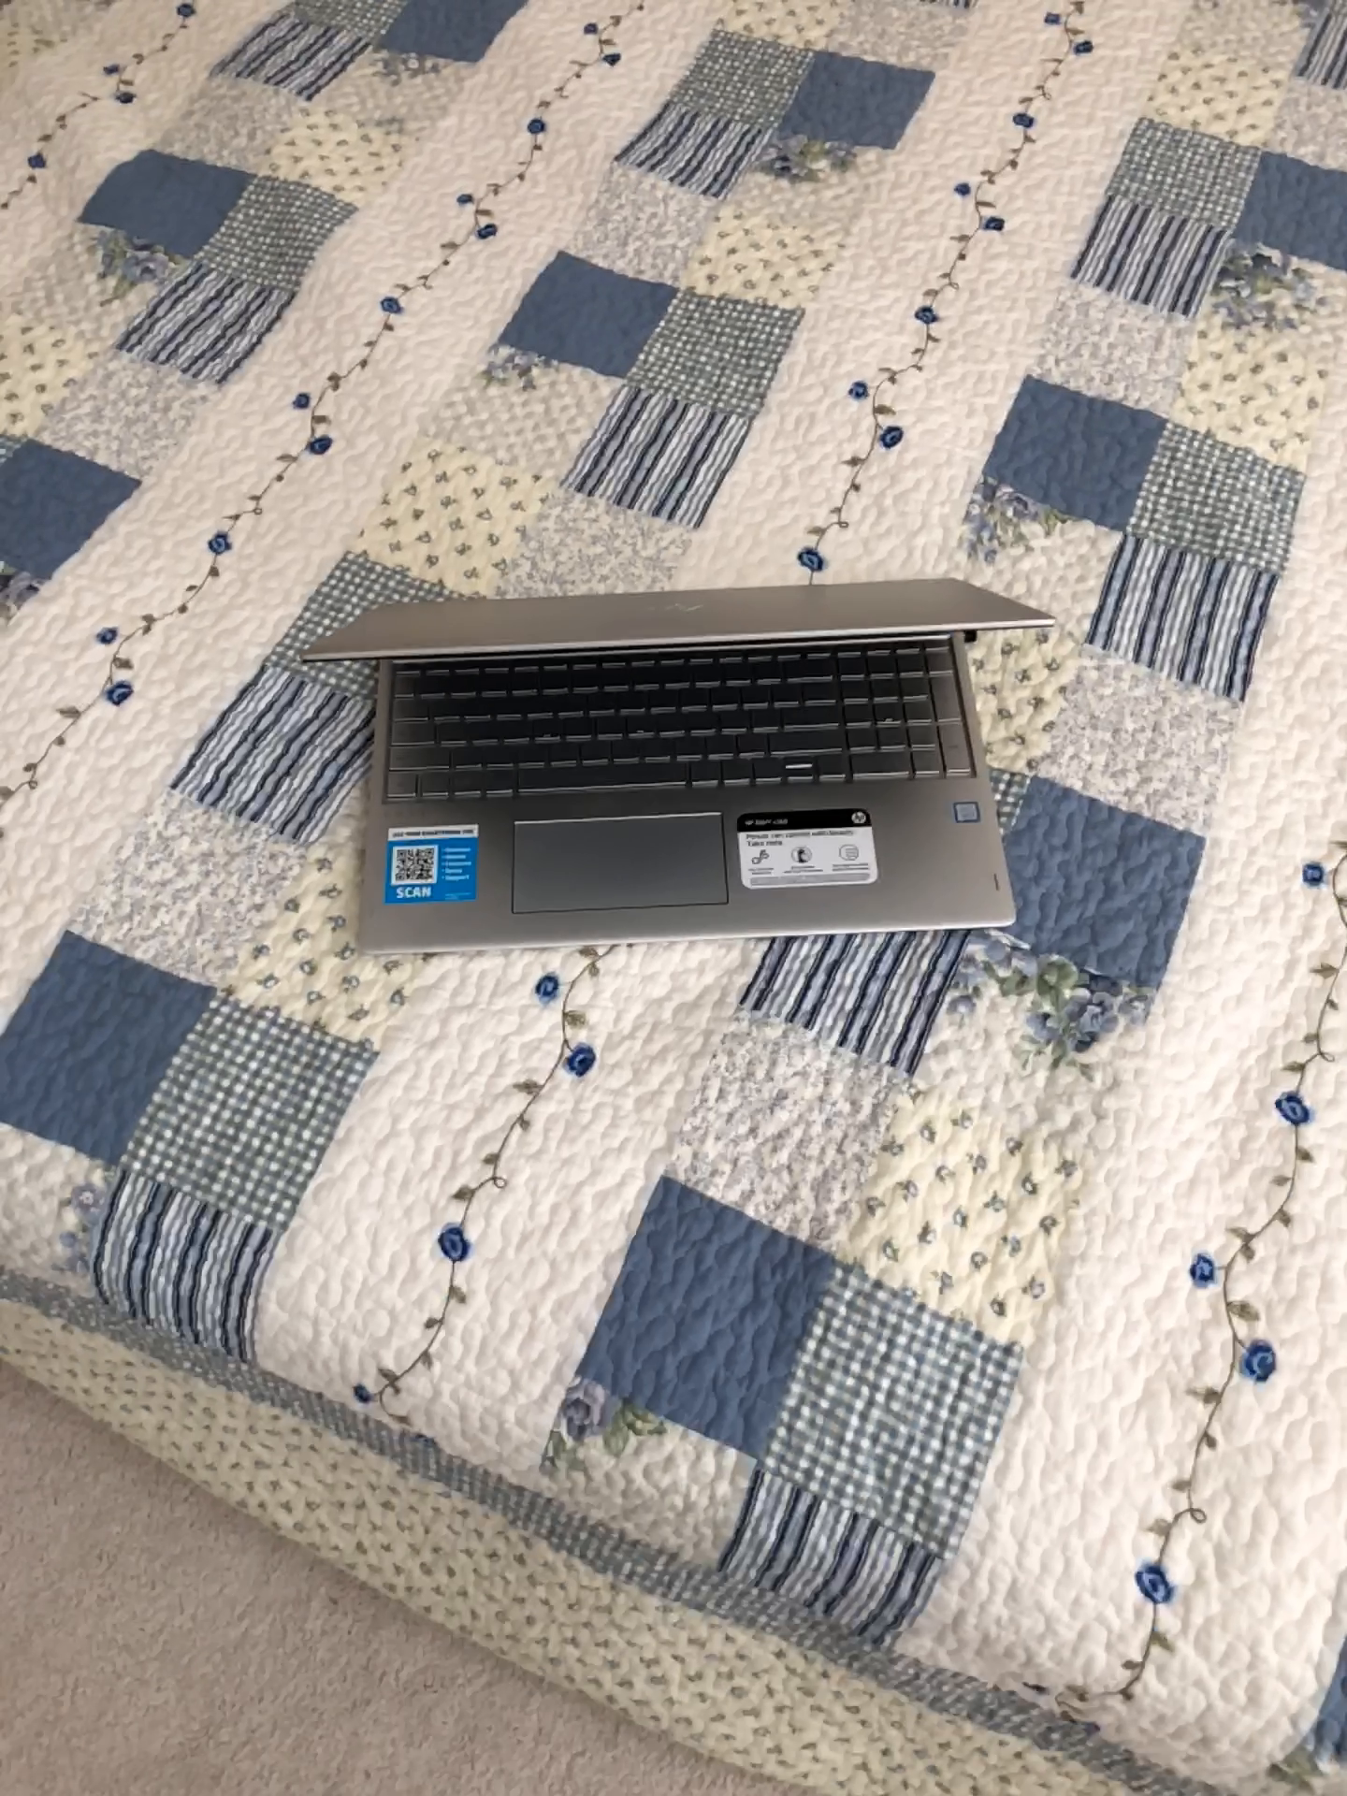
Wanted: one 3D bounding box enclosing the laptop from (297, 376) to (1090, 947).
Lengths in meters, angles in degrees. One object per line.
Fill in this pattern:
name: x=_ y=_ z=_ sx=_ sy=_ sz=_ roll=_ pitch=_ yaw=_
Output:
laptop: x=0.003 y=-0.124 z=0.782 sx=0.348 sy=0.158 sz=0.242 roll=-3 pitch=58 yaw=-1
